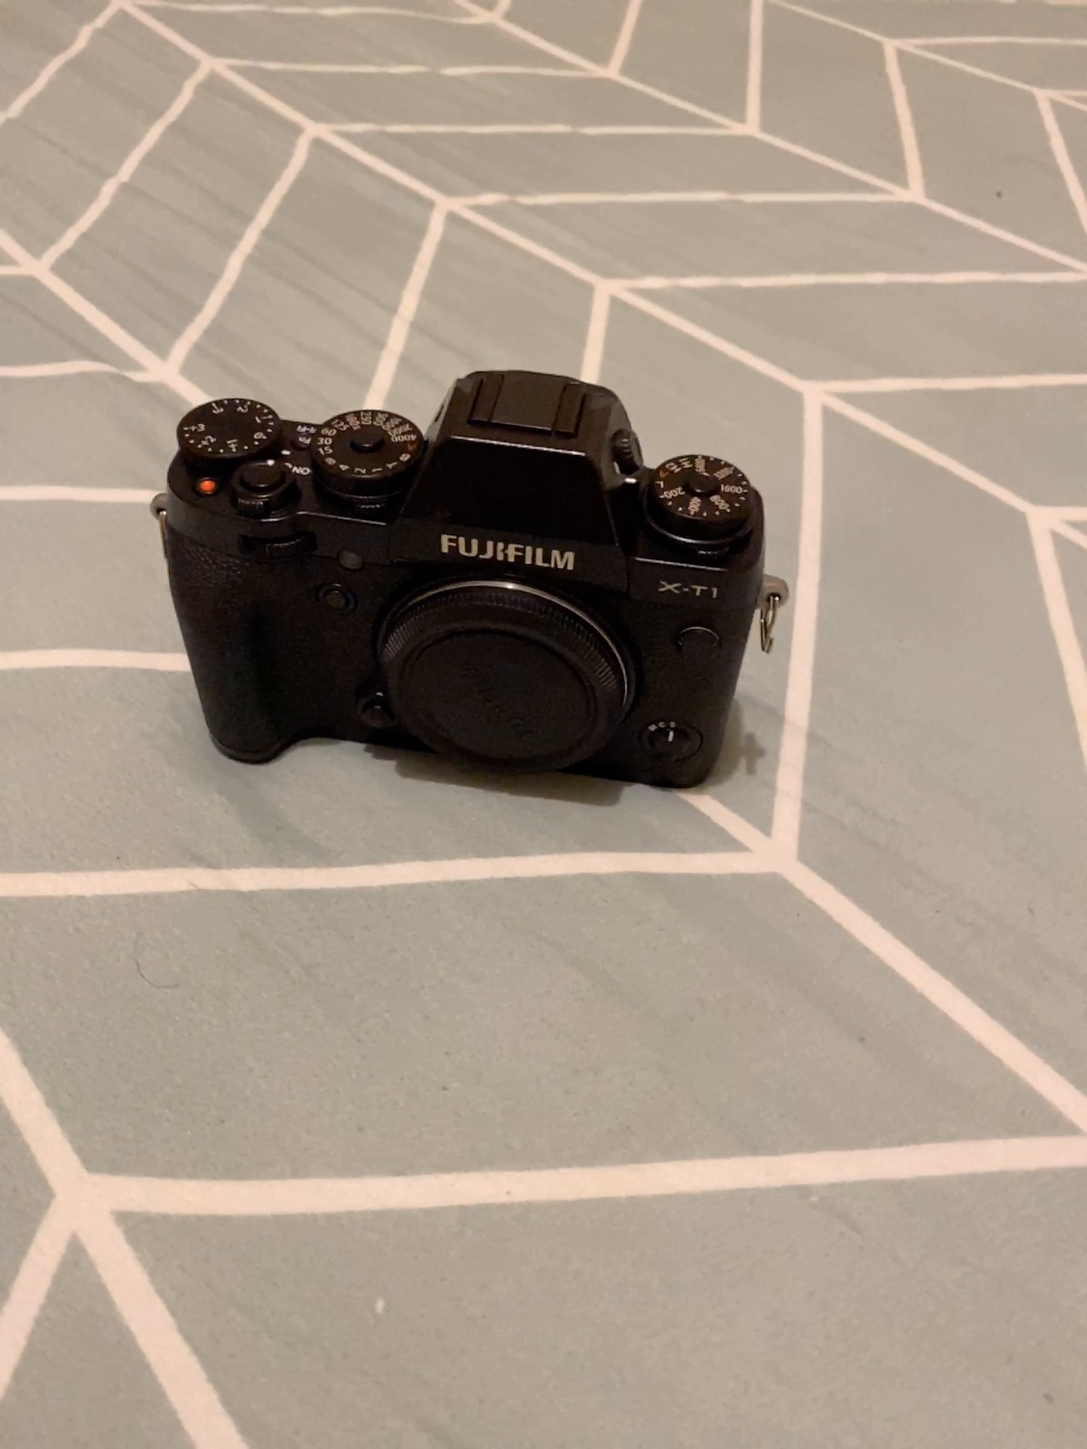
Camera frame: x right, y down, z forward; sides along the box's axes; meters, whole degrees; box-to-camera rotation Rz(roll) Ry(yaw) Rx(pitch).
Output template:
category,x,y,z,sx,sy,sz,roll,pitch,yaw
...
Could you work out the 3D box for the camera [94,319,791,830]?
category,x,y,z,sx,sy,sz,roll,pitch,yaw
camera,-0.018,-0.032,0.257,0.130,0.087,0.052,8,49,4
